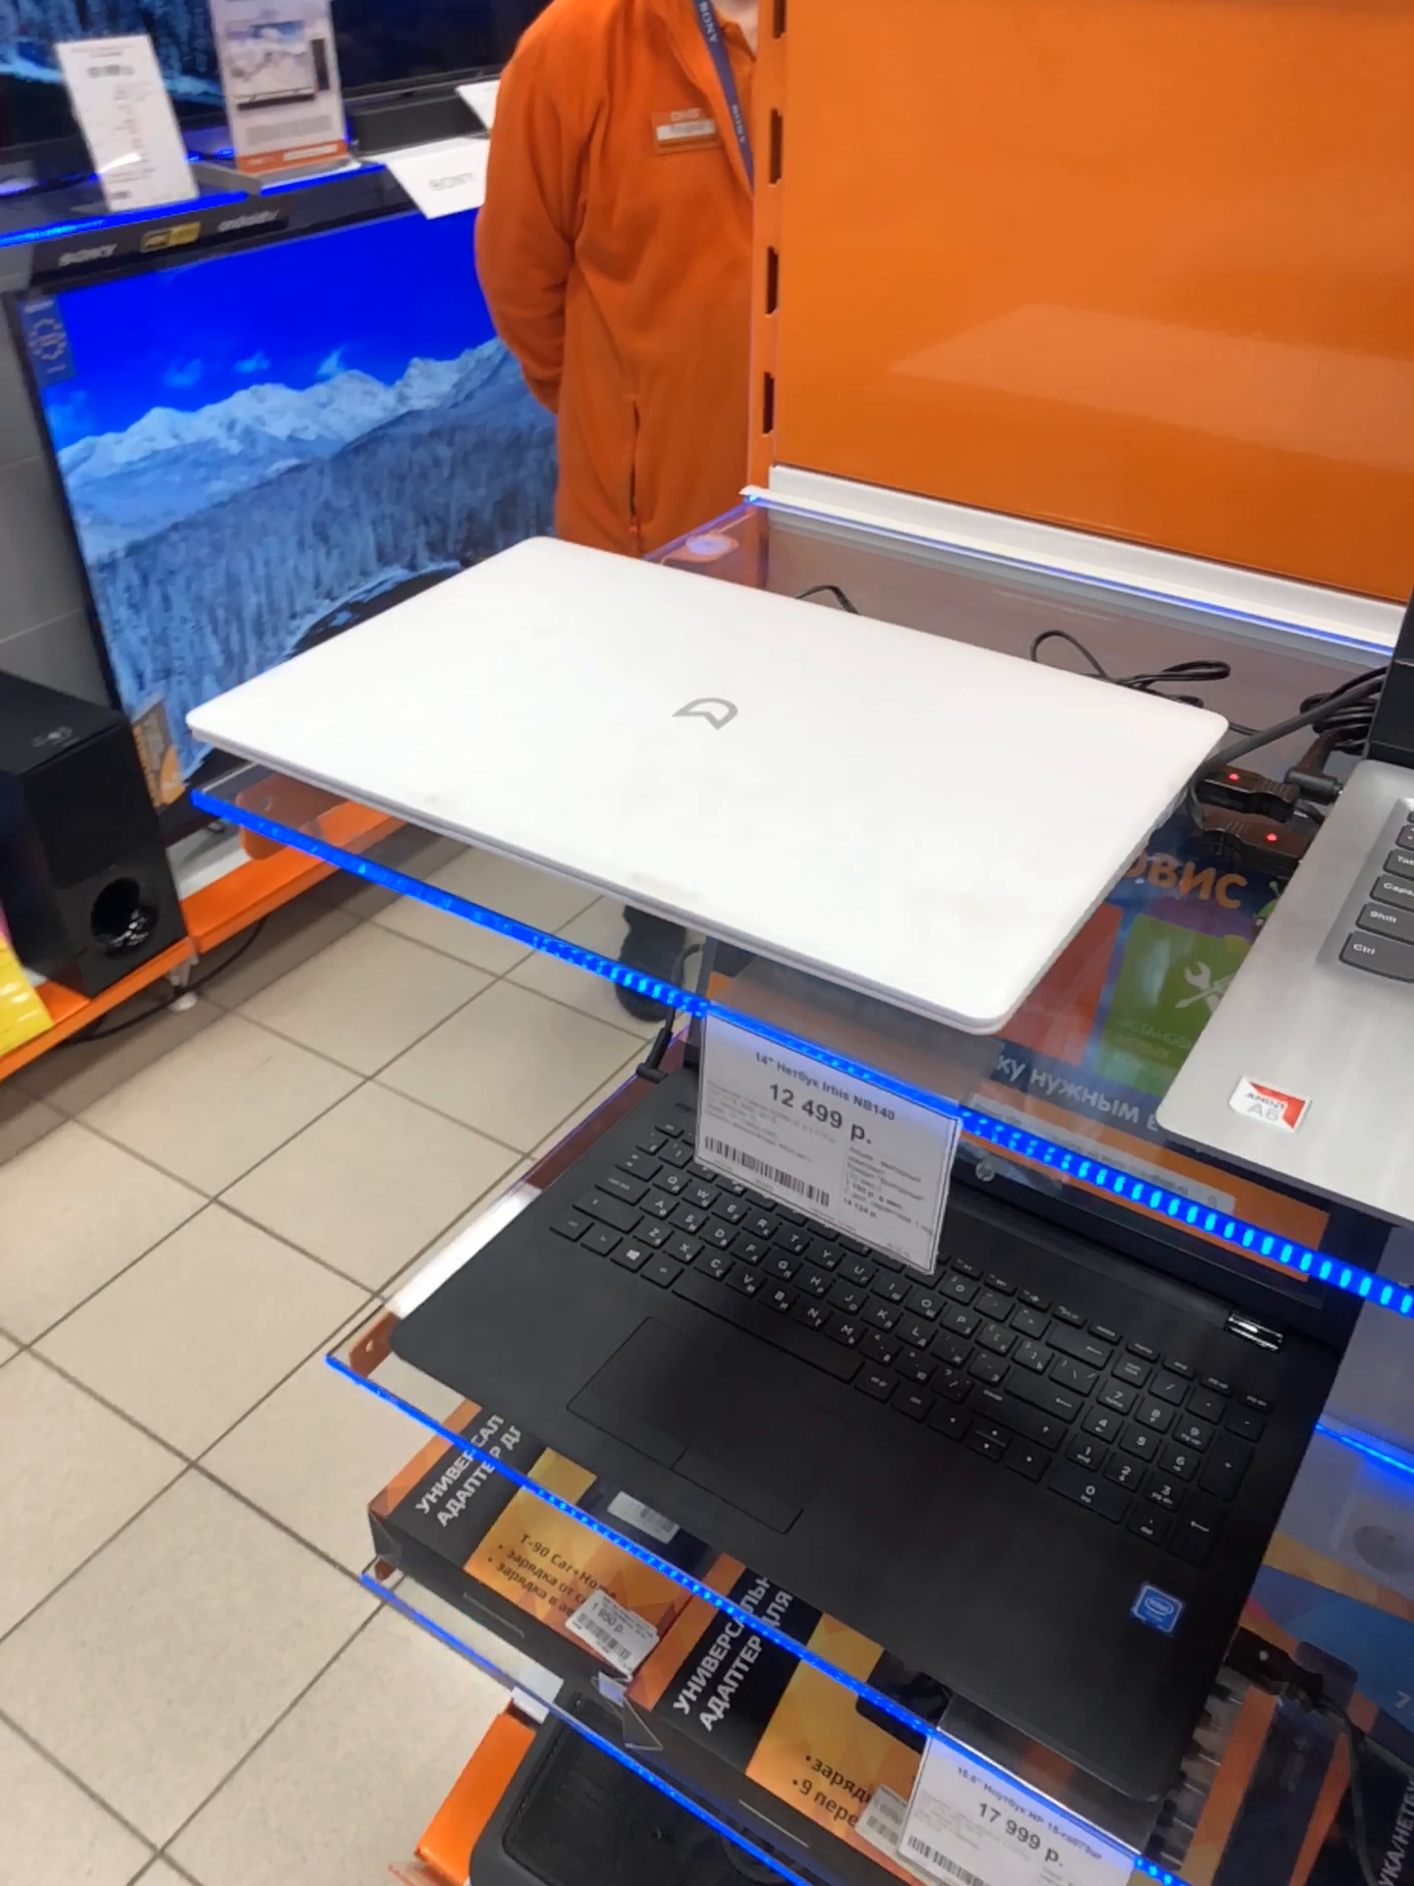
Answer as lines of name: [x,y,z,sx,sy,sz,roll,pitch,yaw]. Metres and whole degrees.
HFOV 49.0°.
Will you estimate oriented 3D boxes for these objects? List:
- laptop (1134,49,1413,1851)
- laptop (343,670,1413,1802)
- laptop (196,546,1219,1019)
laptop: [0.334,-0.057,0.358,0.344,0.224,0.280,19,39,25]
laptop: [0.091,0.082,0.685,0.364,0.228,0.307,22,40,29]
laptop: [0.002,-0.081,0.573,0.313,0.002,0.212,21,40,26]
